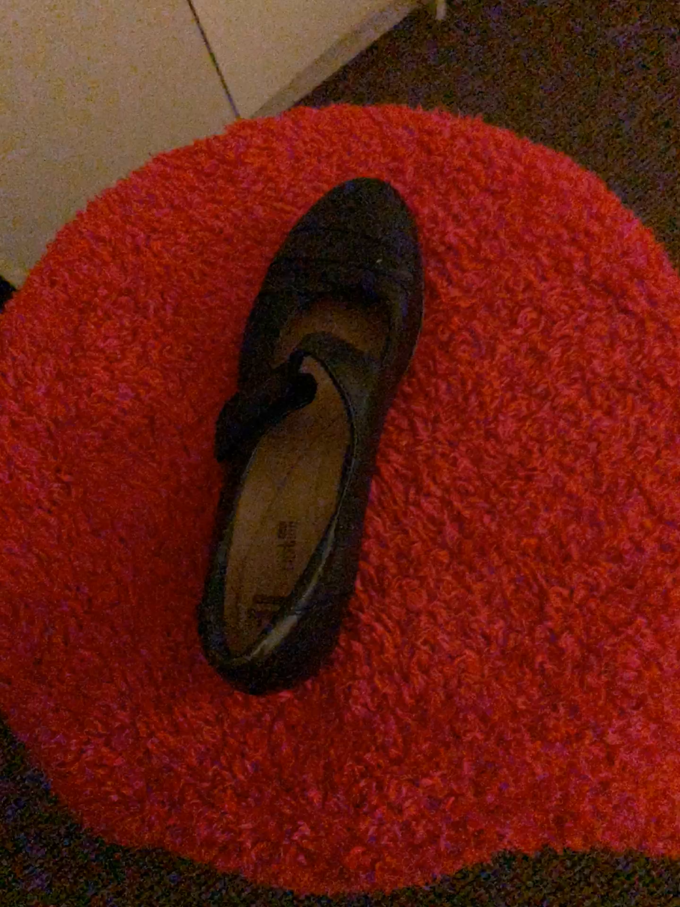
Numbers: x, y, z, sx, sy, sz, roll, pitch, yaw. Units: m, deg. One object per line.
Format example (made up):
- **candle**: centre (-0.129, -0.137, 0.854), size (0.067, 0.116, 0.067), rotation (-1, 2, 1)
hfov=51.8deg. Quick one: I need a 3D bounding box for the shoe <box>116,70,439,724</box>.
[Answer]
- **shoe**: centre (-0.014, -0.032, 0.324), size (0.093, 0.080, 0.275), rotation (4, 75, 12)
